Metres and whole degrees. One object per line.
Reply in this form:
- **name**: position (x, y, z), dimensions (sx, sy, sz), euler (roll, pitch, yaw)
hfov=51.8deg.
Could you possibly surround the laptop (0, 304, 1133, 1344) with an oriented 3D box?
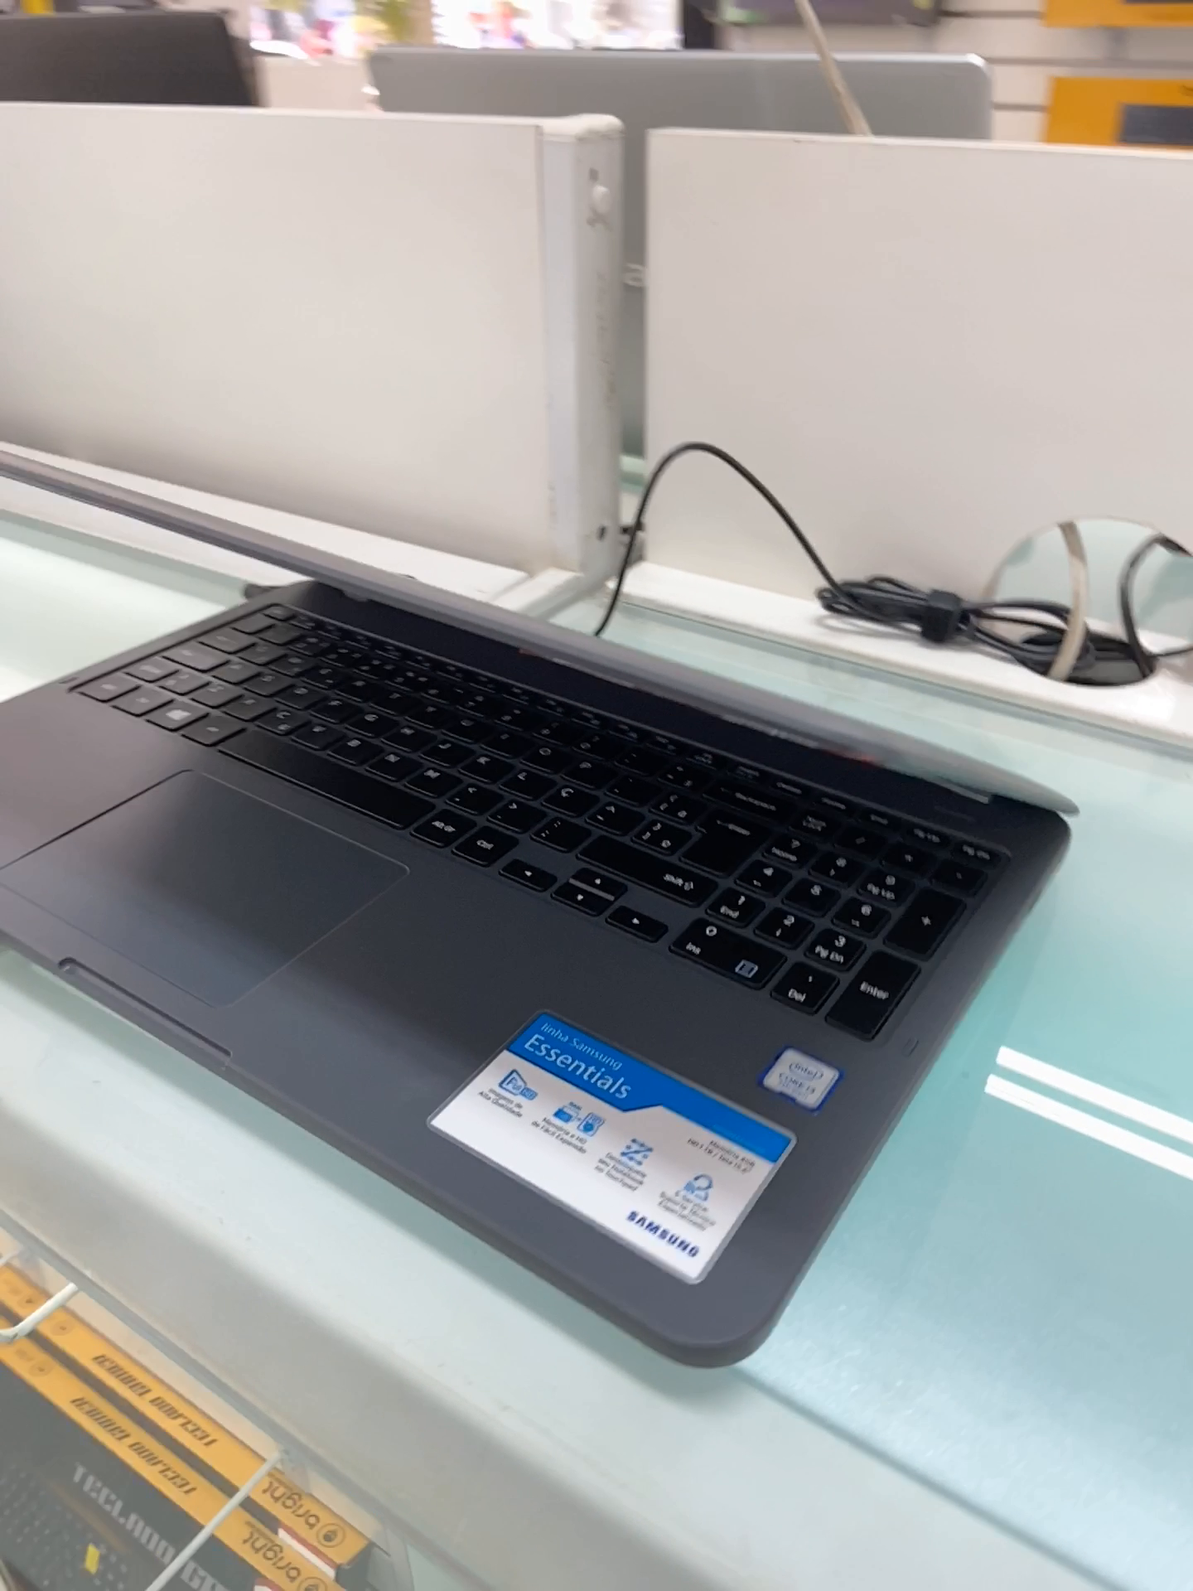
- **laptop**: position (-0.059, -0.048, 0.399), dimensions (0.367, 0.126, 0.238), euler (21, 38, 28)
